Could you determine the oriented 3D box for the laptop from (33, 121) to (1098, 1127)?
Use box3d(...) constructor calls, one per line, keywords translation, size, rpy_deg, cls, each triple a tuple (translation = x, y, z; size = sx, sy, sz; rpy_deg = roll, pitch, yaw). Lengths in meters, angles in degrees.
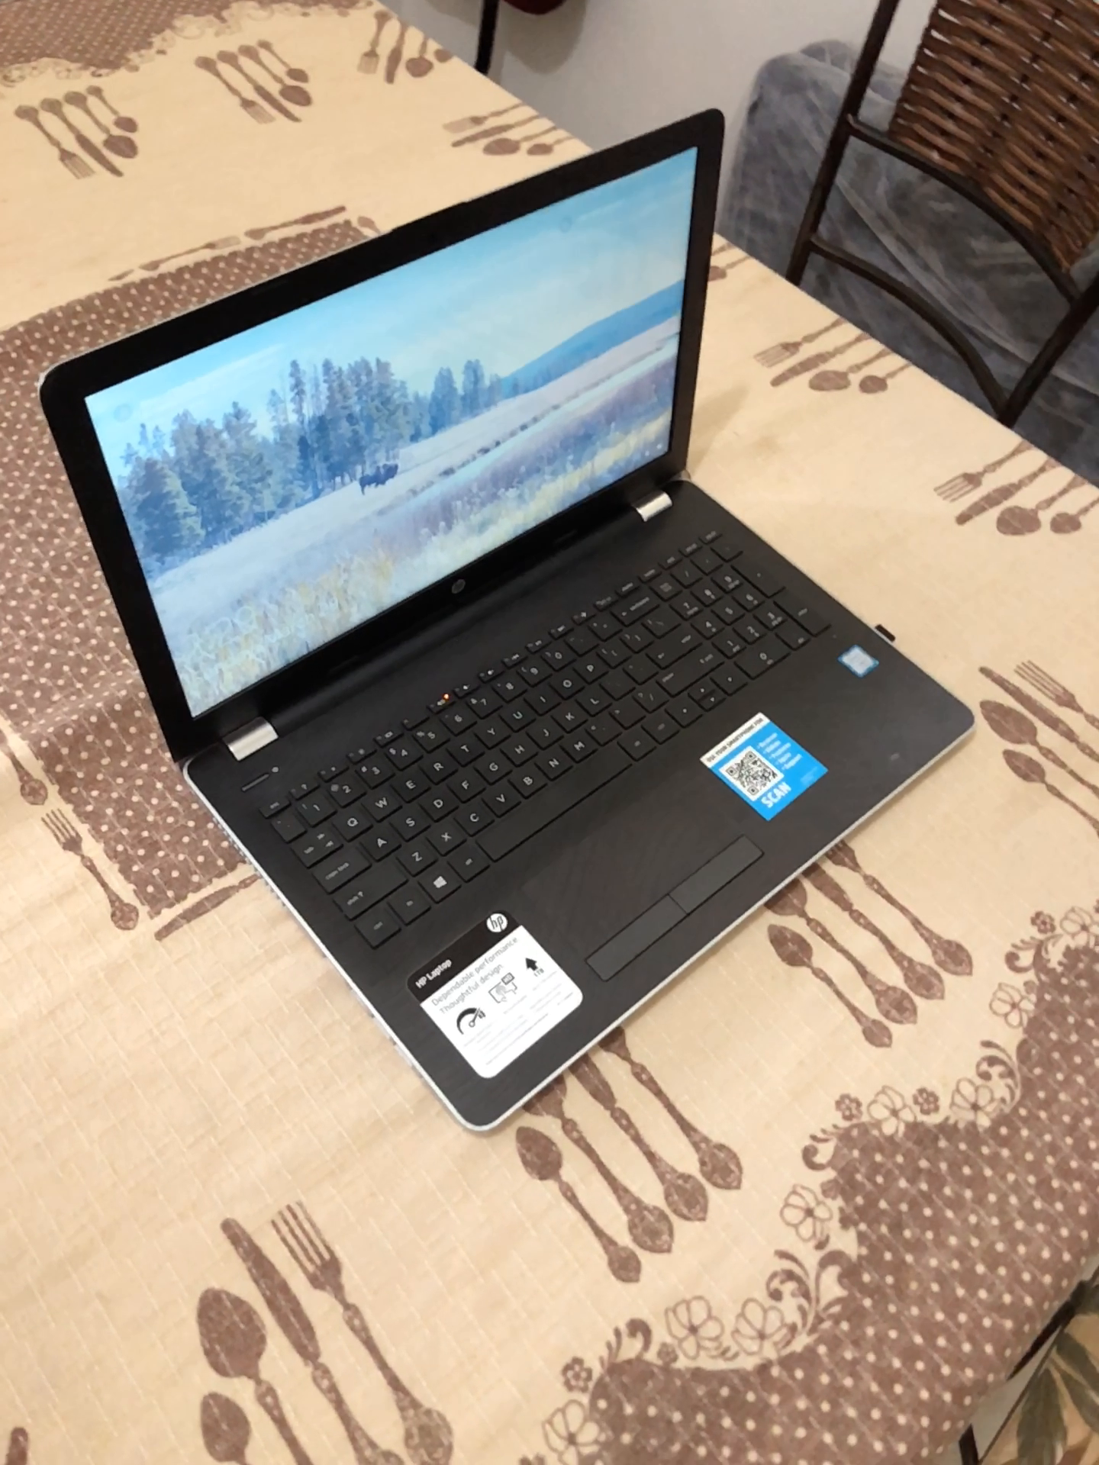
box3d(translation=(0.025, -0.068, 0.560), size=(0.361, 0.226, 0.268), rpy_deg=(-33, 63, -26), cls="laptop")
